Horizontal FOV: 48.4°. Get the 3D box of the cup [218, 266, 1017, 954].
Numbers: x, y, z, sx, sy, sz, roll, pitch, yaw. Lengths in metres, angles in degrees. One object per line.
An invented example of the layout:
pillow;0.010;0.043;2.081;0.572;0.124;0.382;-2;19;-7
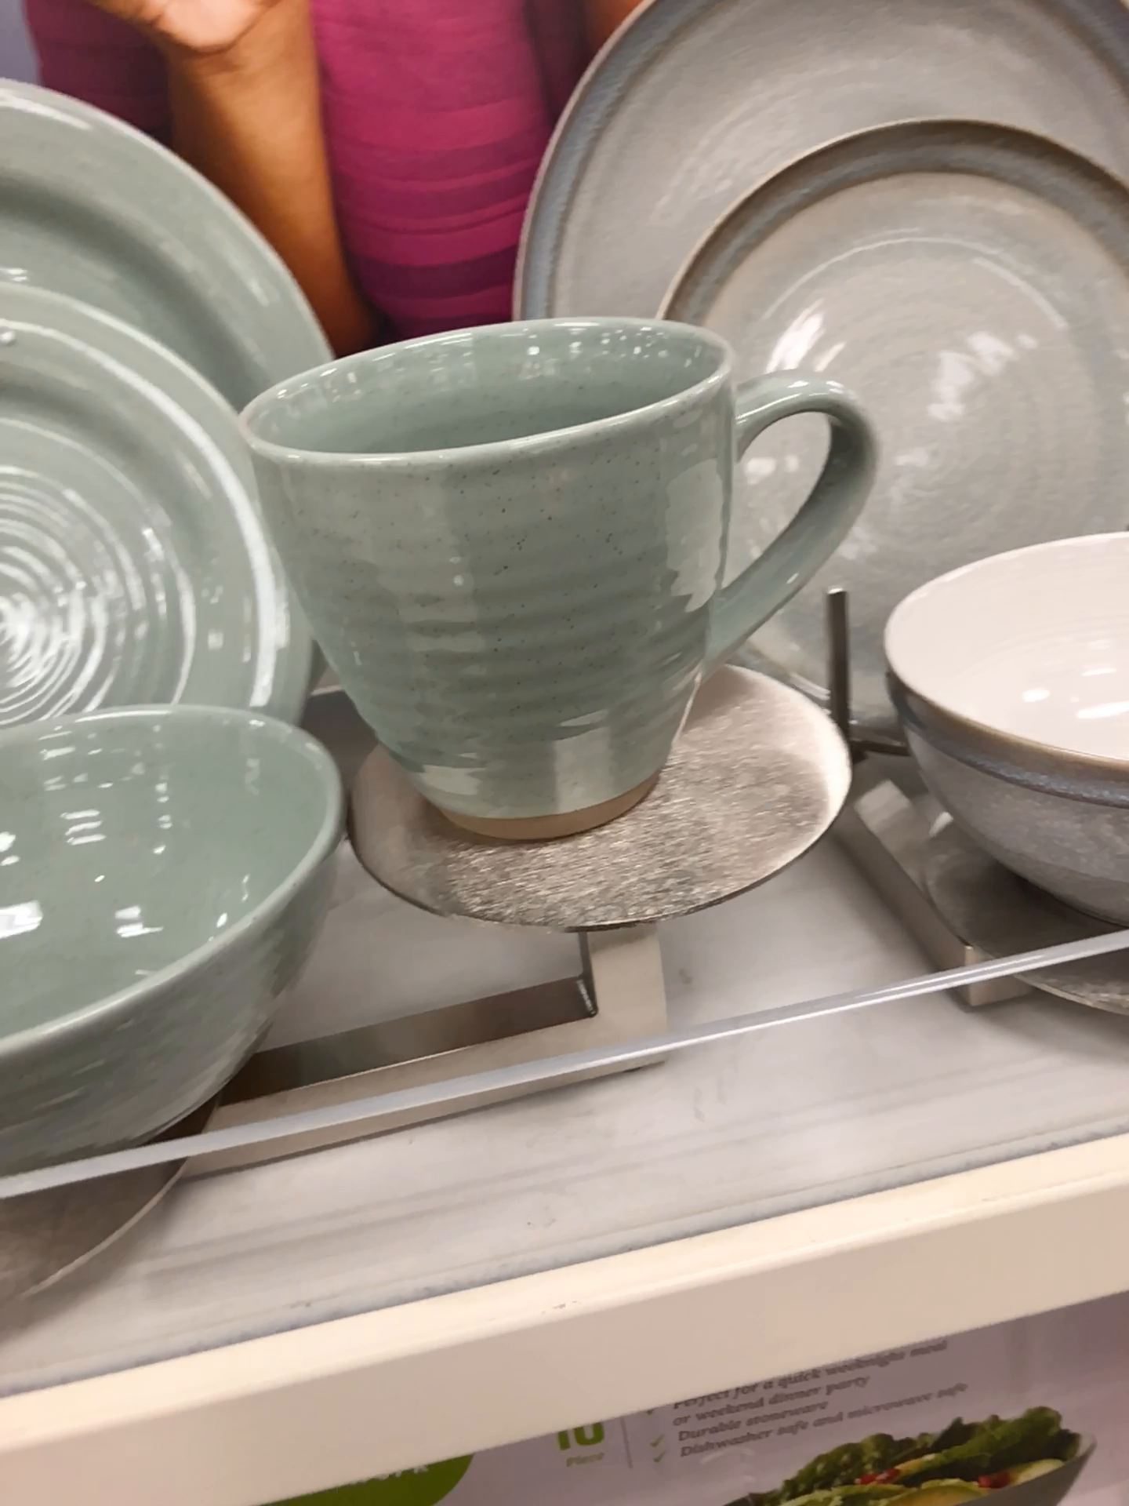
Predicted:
cup;0.006;-0.043;0.277;0.129;0.091;0.116;-16;29;-14
